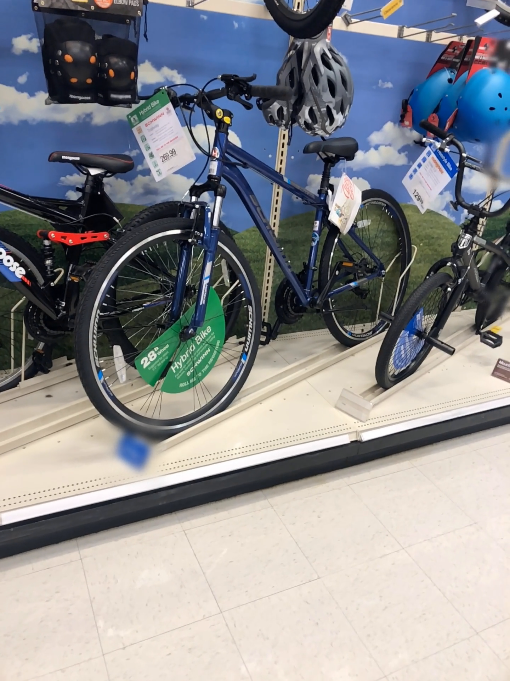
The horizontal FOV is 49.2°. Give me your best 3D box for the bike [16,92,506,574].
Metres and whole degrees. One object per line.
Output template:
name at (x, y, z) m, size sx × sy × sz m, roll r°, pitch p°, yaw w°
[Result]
bike at (0.153, -0.246, 1.984) m, size 0.531 × 1.098 × 1.742 m, roll 26°, pitch 34°, yaw 36°
